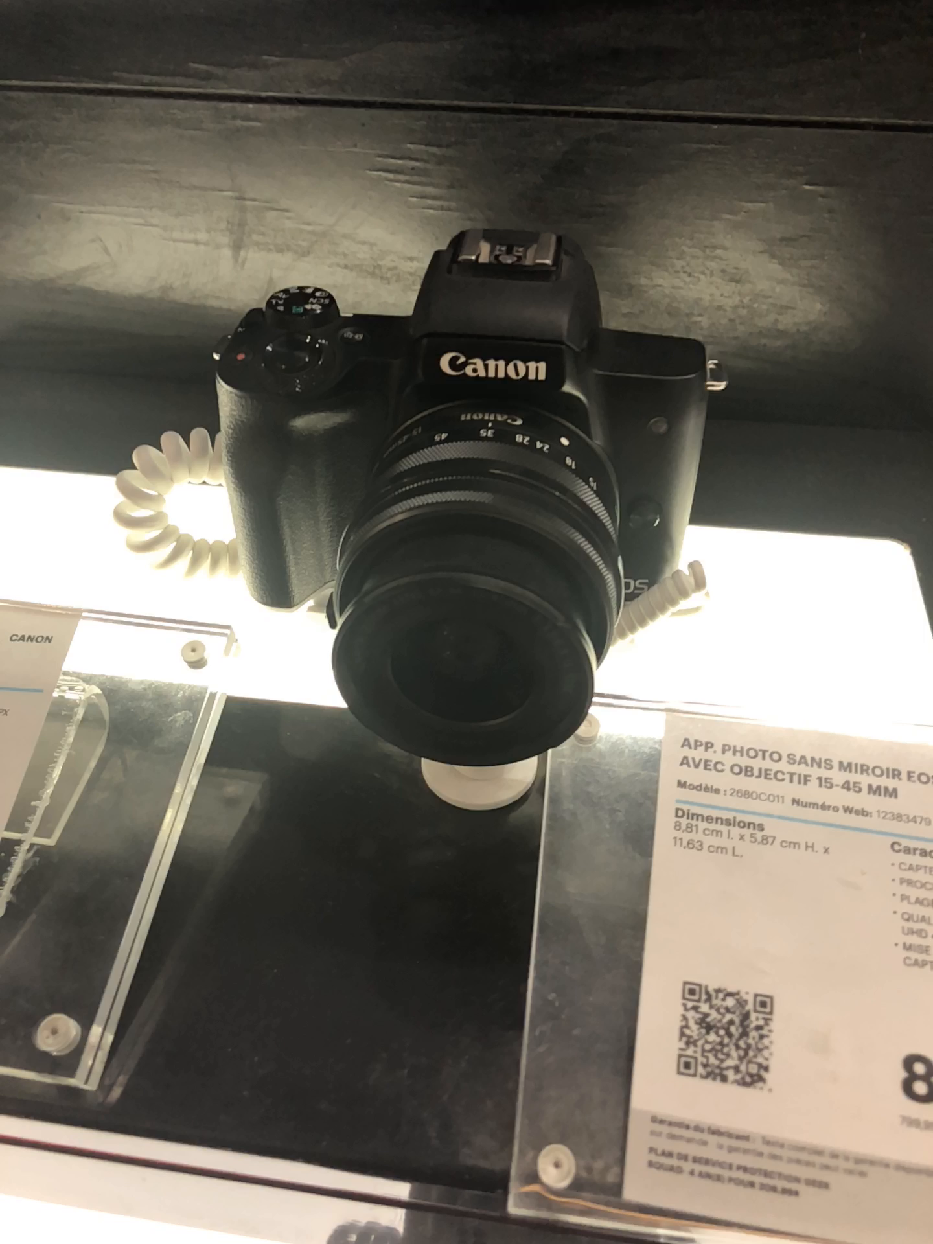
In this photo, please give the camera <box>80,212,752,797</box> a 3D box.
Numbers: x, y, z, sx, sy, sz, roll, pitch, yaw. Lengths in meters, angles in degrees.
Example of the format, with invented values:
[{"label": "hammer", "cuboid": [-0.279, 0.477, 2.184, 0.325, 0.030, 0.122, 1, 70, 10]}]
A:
[{"label": "camera", "cuboid": [-0.004, -0.033, 0.247, 0.119, 0.089, 0.101, 5, 40, 7]}]
